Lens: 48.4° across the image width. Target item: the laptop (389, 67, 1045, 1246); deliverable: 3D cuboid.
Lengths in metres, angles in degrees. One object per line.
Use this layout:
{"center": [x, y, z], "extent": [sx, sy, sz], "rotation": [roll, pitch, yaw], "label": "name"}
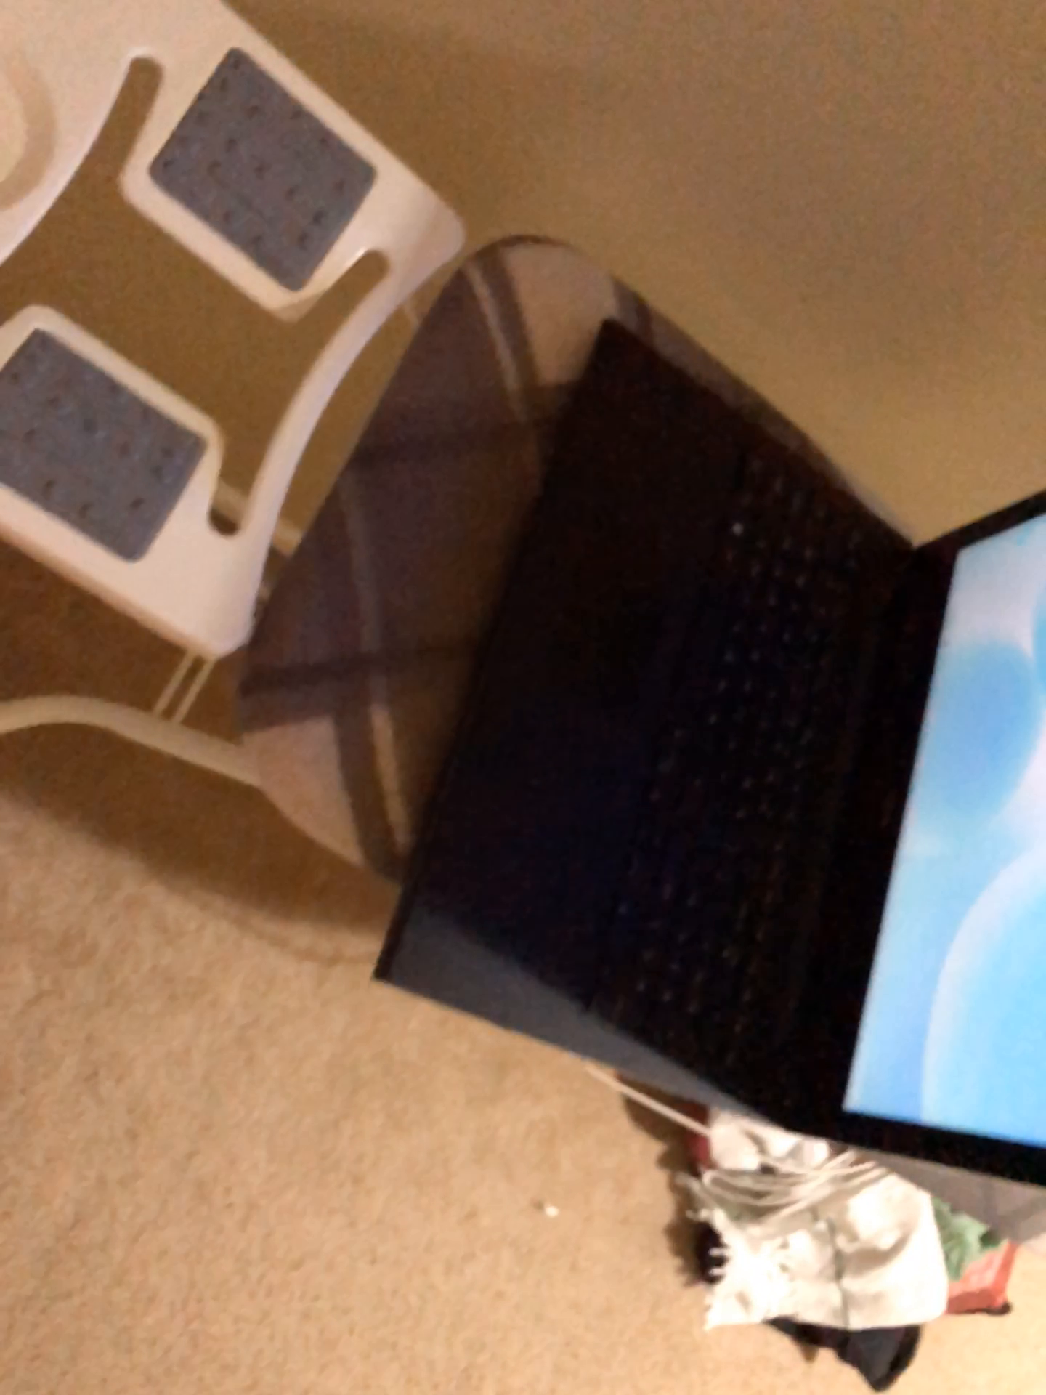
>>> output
{"center": [0.154, -0.002, 0.513], "extent": [0.248, 0.231, 0.352], "rotation": [28, 68, -25], "label": "laptop"}
